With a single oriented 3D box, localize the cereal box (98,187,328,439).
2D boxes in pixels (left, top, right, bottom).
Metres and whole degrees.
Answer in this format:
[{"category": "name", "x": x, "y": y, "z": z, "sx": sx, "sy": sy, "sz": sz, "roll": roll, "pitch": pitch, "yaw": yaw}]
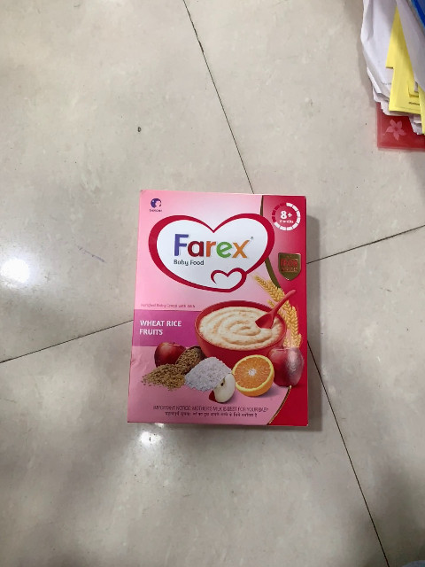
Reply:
[{"category": "cereal box", "x": 0.002, "y": 0.023, "z": 0.361, "sx": 0.170, "sy": 0.050, "sz": 0.190, "roll": 2, "pitch": 81, "yaw": -2}]
